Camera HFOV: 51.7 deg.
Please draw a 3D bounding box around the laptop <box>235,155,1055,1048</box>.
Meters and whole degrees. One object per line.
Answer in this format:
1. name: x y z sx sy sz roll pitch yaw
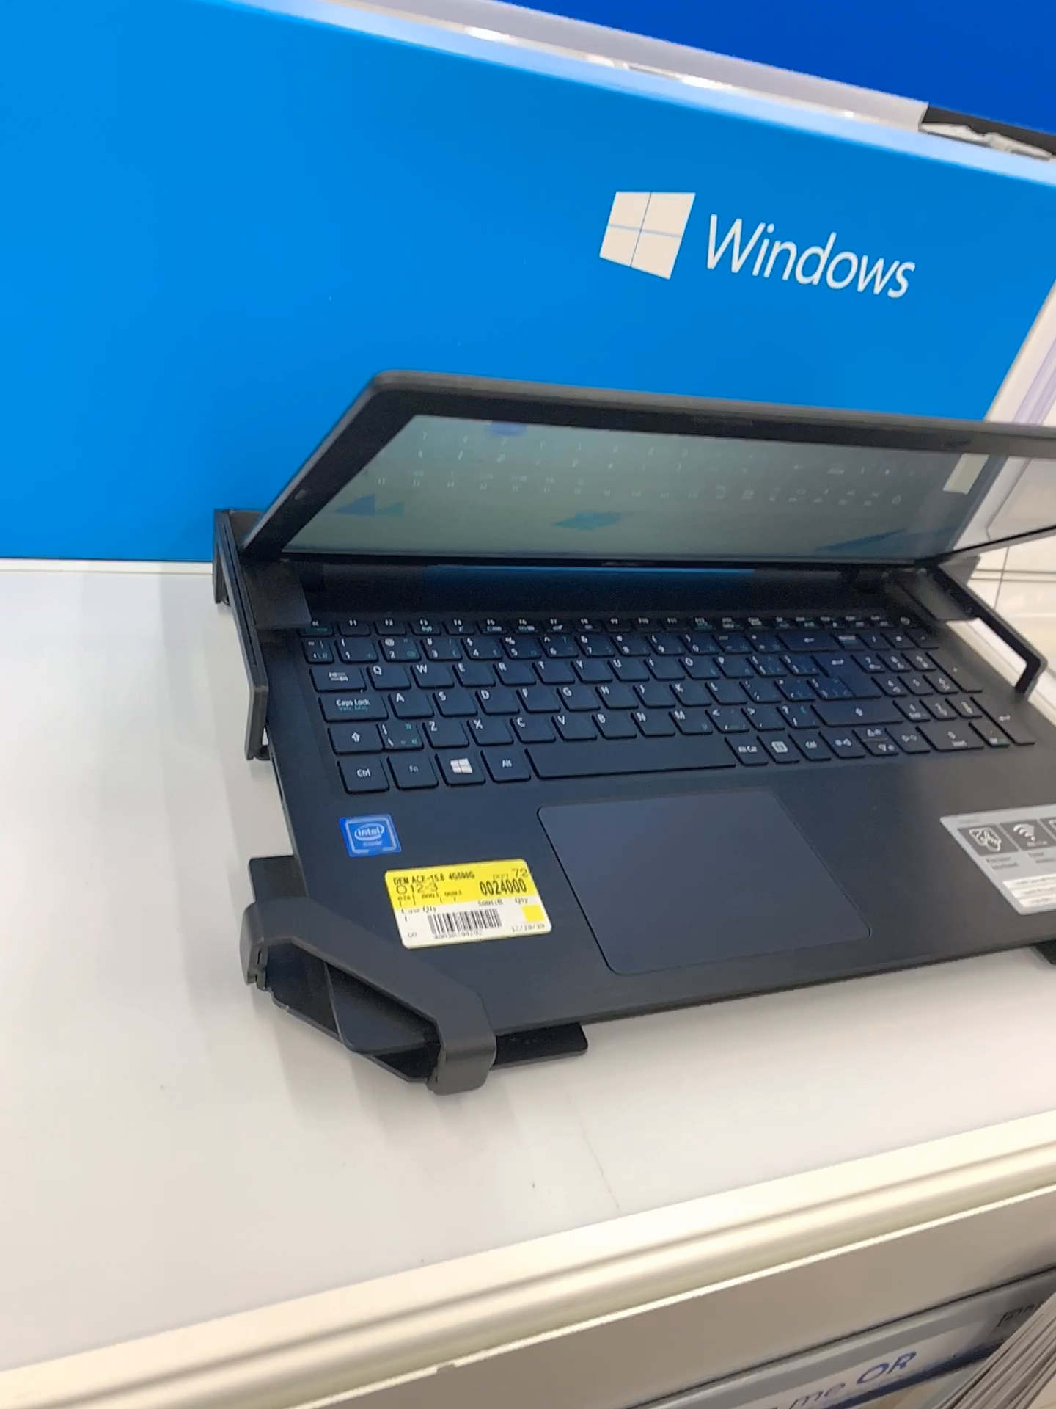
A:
1. laptop: 0.094 -0.051 0.384 0.344 0.157 0.233 -2 39 -23
